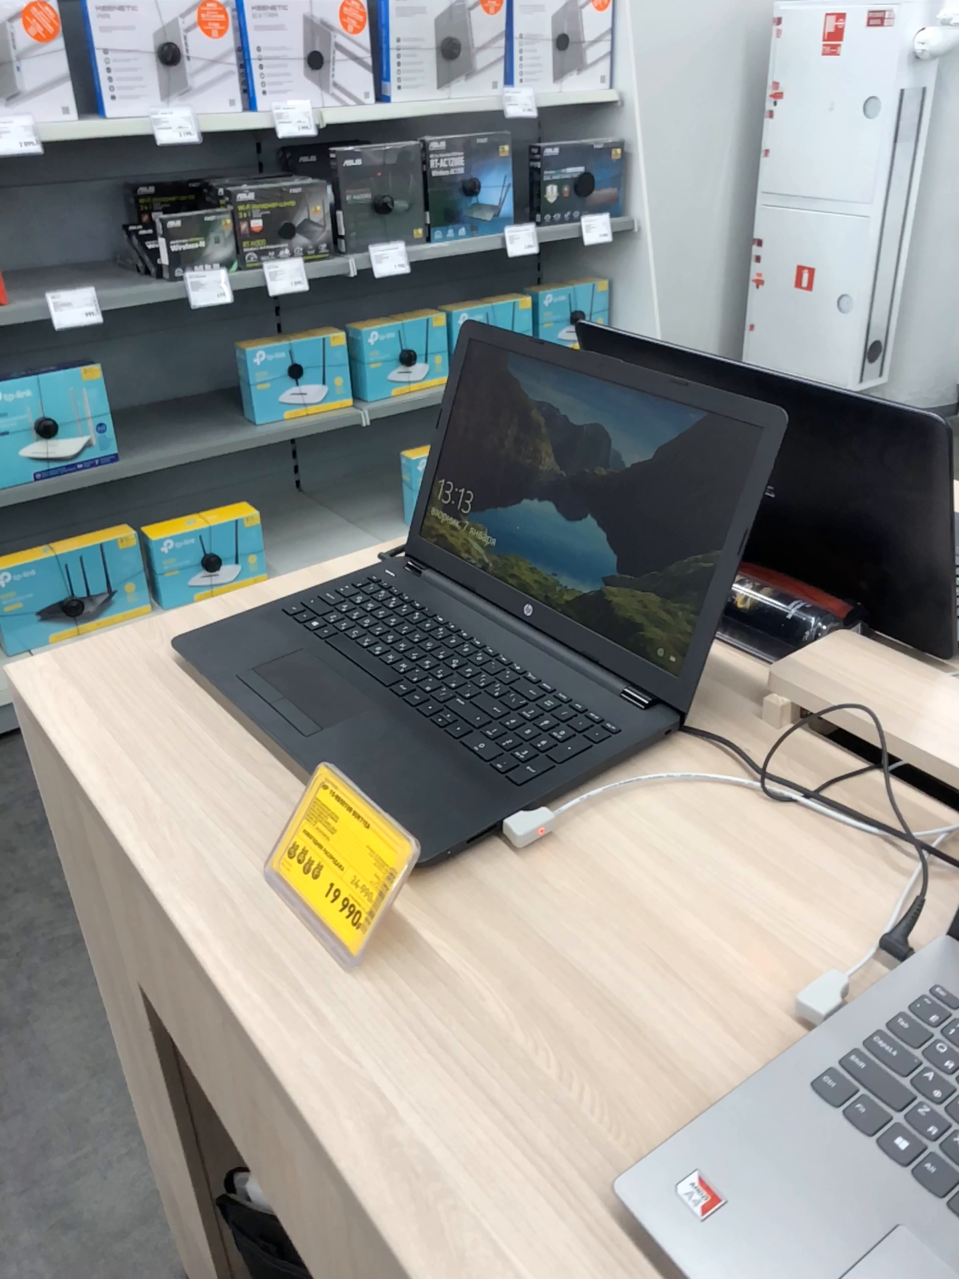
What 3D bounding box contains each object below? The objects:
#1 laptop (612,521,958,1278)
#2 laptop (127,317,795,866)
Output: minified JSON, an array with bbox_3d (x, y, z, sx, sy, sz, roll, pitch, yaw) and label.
[{"bbox_3d":[0.302,0.163,0.357,0.339,0.226,0.372,-20,33,-27],"label":"laptop"},{"bbox_3d":[-0.026,-0.081,0.832,0.342,0.217,0.377,-22,35,-30],"label":"laptop"}]
